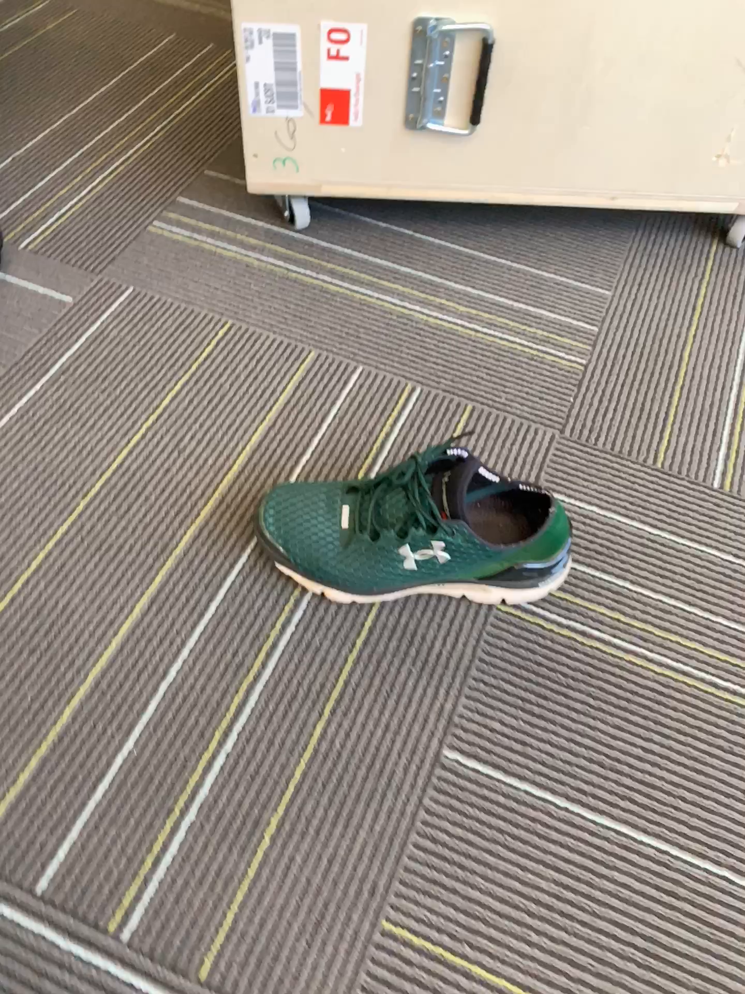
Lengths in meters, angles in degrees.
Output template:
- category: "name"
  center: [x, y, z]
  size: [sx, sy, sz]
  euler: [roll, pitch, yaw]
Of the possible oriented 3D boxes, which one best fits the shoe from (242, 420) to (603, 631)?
- category: "shoe"
  center: [0.043, 0.028, 0.718]
  size: [0.300, 0.120, 0.120]
  euler: [6, 55, 1]
